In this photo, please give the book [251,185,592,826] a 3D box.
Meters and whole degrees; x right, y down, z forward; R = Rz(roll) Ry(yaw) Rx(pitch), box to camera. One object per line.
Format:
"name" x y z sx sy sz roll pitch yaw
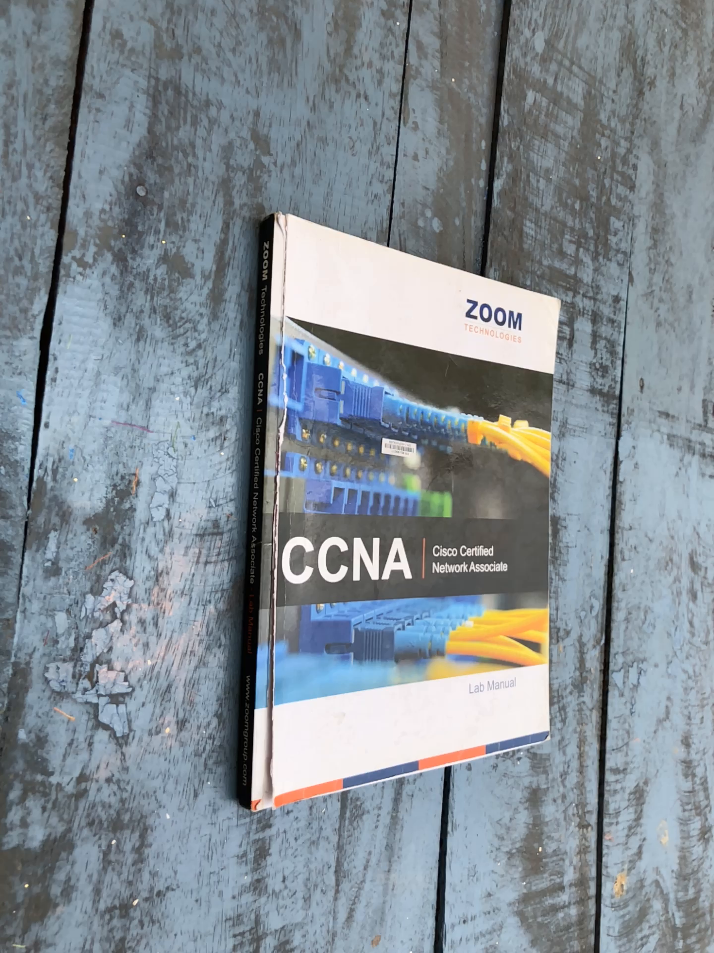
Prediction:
"book" 0.043 0.014 0.396 0.201 0.030 0.260 4 84 -39
